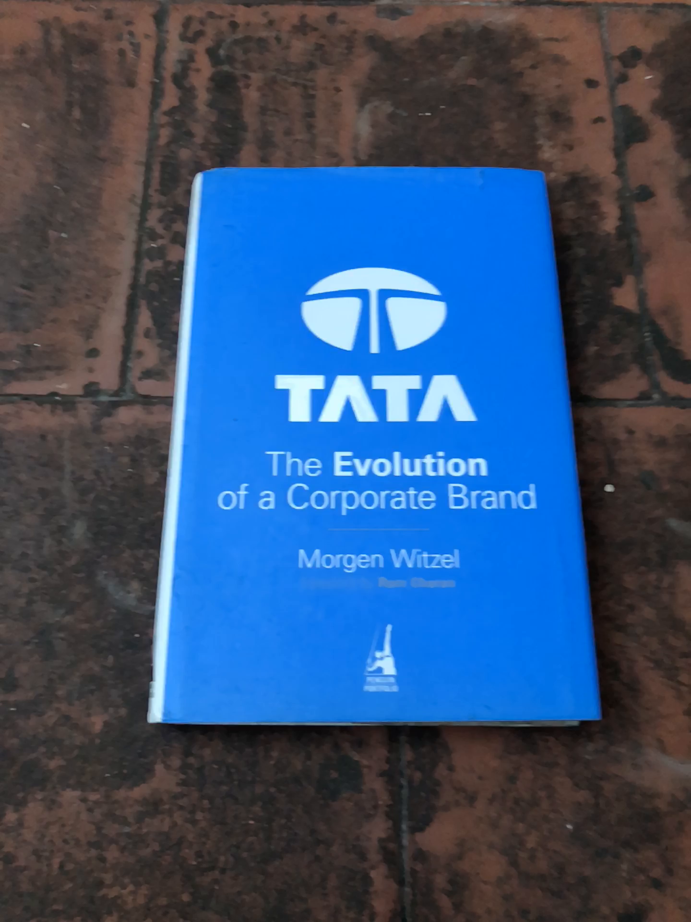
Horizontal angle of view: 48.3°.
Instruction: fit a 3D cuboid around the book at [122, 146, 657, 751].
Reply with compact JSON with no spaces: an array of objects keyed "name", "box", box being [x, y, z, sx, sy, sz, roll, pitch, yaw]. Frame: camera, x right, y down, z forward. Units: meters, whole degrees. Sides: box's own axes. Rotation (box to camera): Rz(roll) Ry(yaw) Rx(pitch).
[{"name":"book","box":[0.014,-0.014,0.305,0.170,0.040,0.240,0,70,-1]}]
